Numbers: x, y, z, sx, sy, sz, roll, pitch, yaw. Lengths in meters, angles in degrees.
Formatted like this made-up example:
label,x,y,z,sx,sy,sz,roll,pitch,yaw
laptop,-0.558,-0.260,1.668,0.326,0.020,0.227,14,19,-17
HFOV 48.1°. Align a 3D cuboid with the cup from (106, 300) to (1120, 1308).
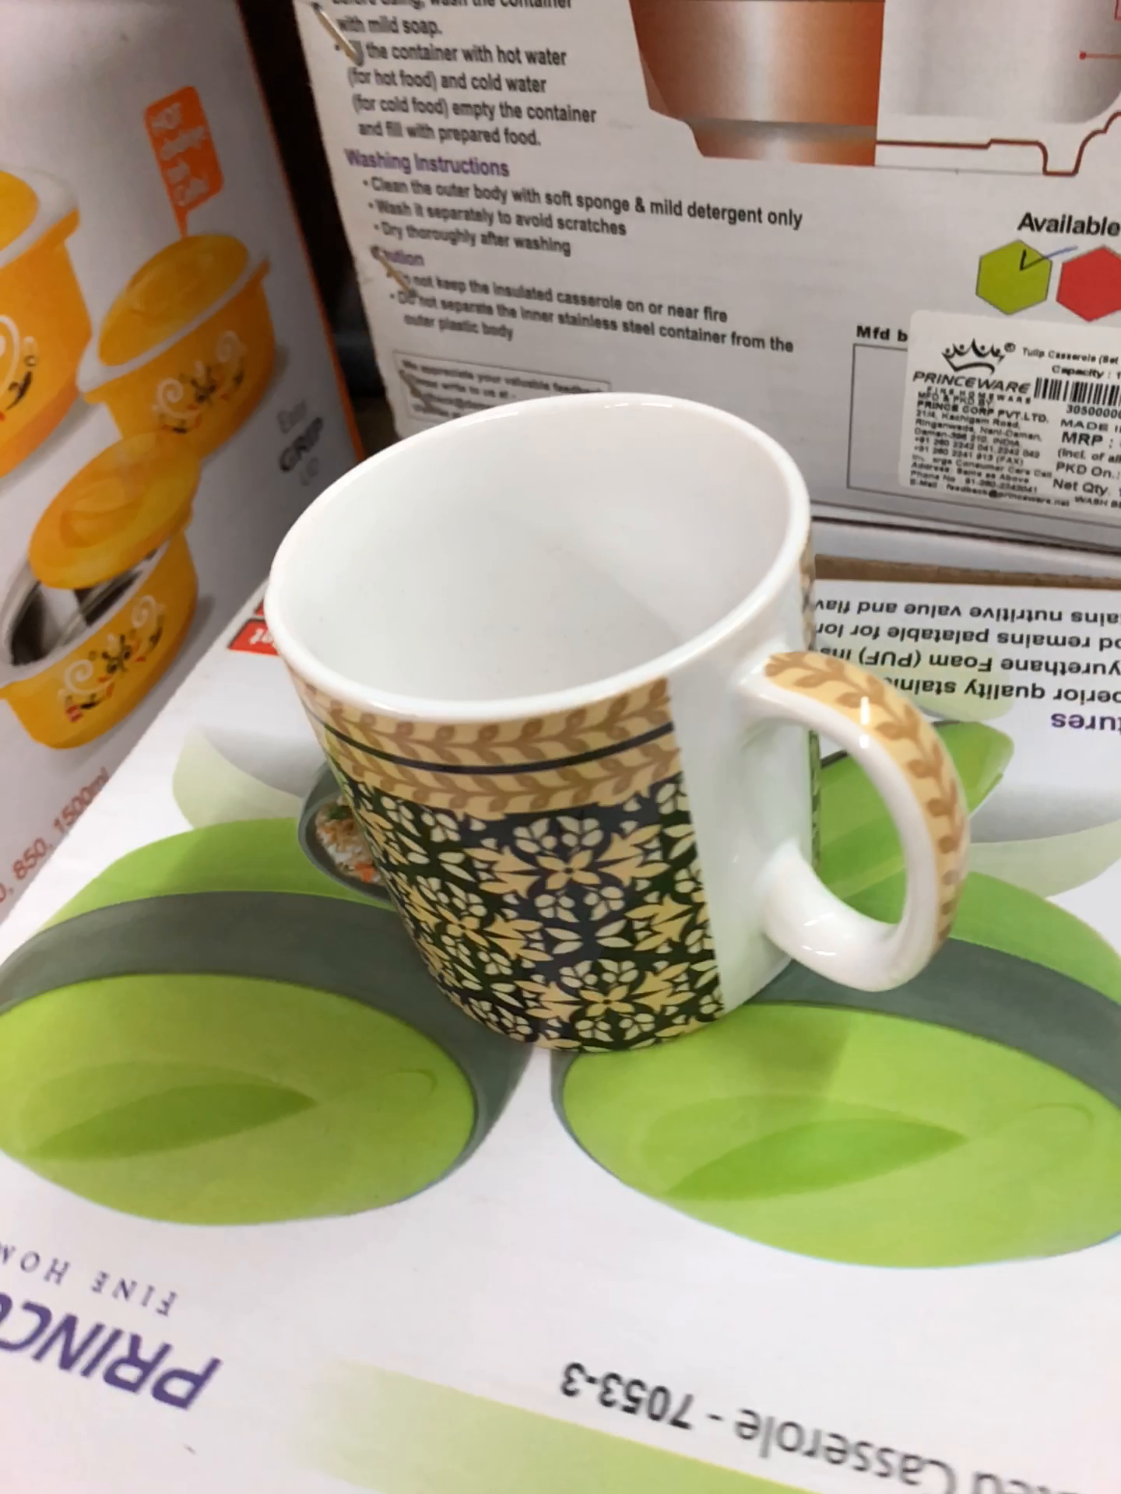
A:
label,x,y,z,sx,sy,sz,roll,pitch,yaw
cup,0.012,0.000,0.181,0.110,0.089,0.070,23,52,34
